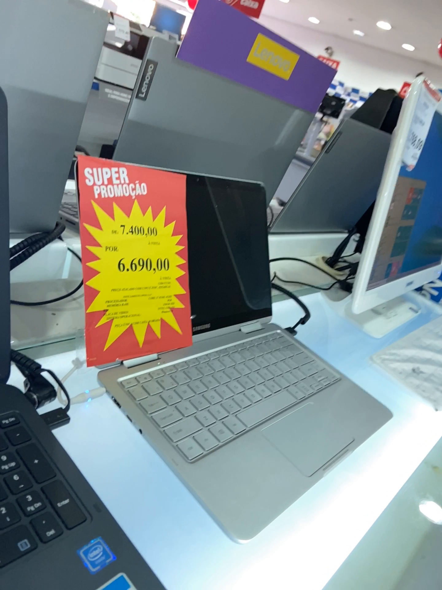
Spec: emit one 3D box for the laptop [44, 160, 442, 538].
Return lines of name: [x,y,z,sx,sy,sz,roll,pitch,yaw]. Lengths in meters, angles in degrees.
laptop: [0.039,0.010,0.496,0.310,0.170,0.306,37,28,32]
